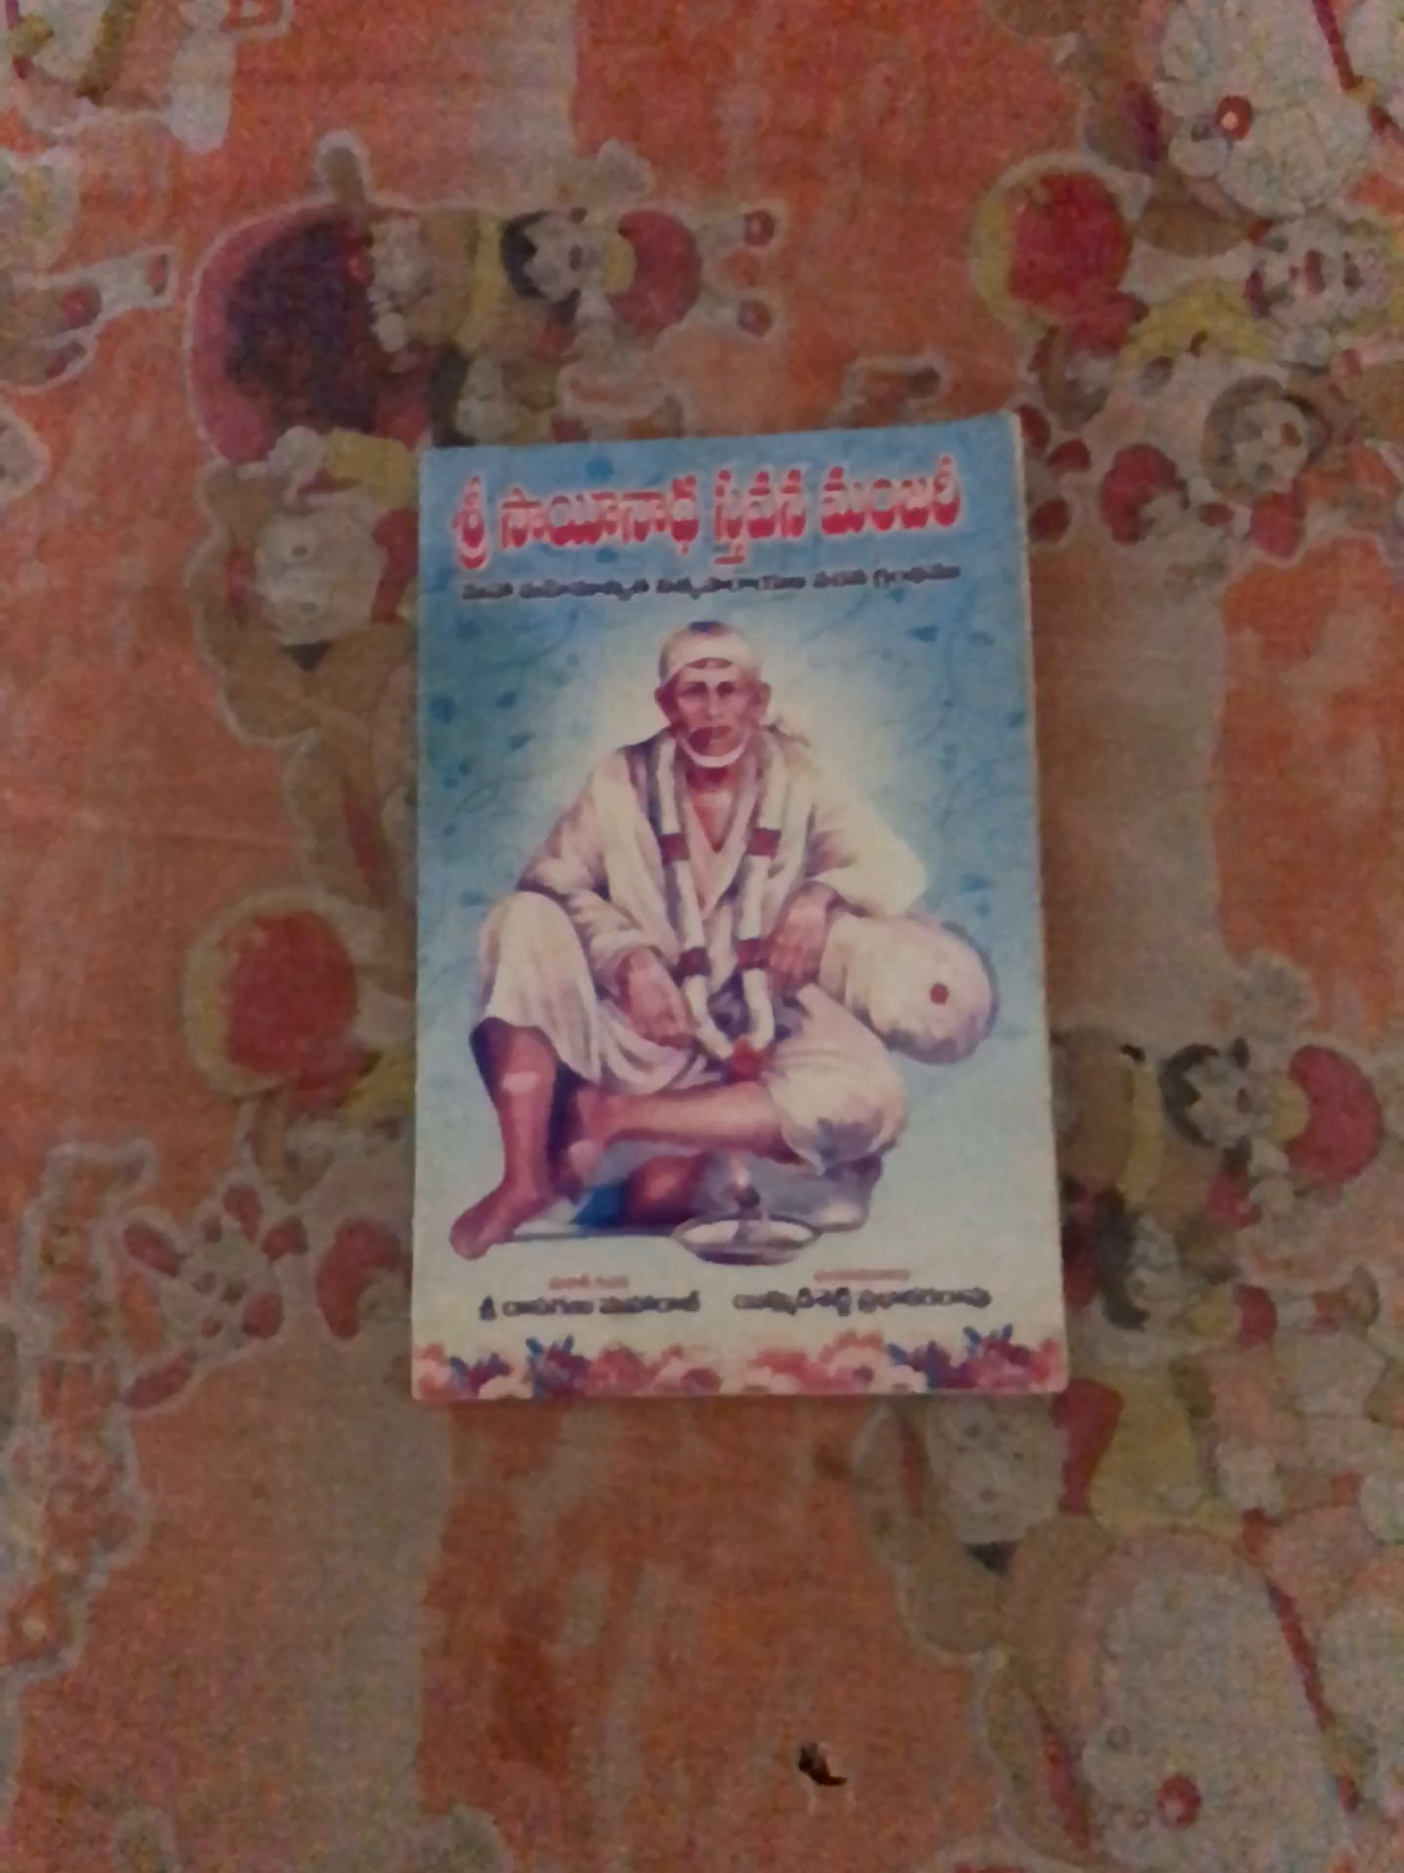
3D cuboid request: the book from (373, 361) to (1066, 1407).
[{"bbox_3d":[0.002,-0.014,0.341,0.140,0.020,0.220,-1,83,1],"label":"book"}]
